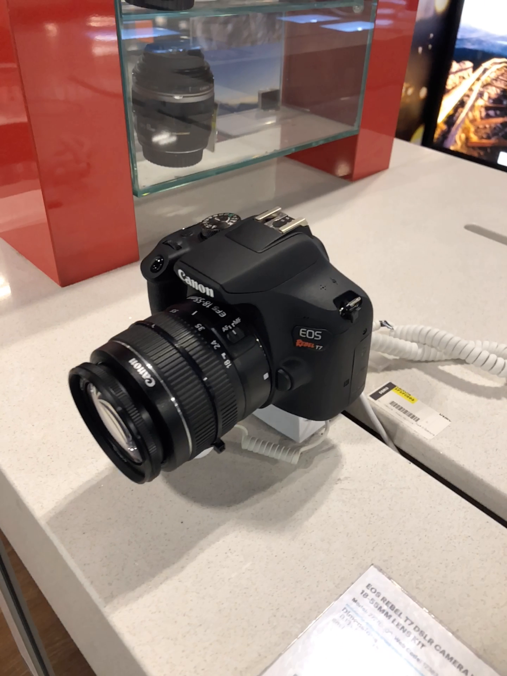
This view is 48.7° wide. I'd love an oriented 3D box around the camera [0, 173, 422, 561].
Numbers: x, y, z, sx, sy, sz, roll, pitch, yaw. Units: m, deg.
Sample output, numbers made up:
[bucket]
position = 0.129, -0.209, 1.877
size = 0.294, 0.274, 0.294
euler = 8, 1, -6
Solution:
[camera]
position = -0.023, -0.005, 0.289
size = 0.141, 0.089, 0.150
euler = 31, 45, 33
